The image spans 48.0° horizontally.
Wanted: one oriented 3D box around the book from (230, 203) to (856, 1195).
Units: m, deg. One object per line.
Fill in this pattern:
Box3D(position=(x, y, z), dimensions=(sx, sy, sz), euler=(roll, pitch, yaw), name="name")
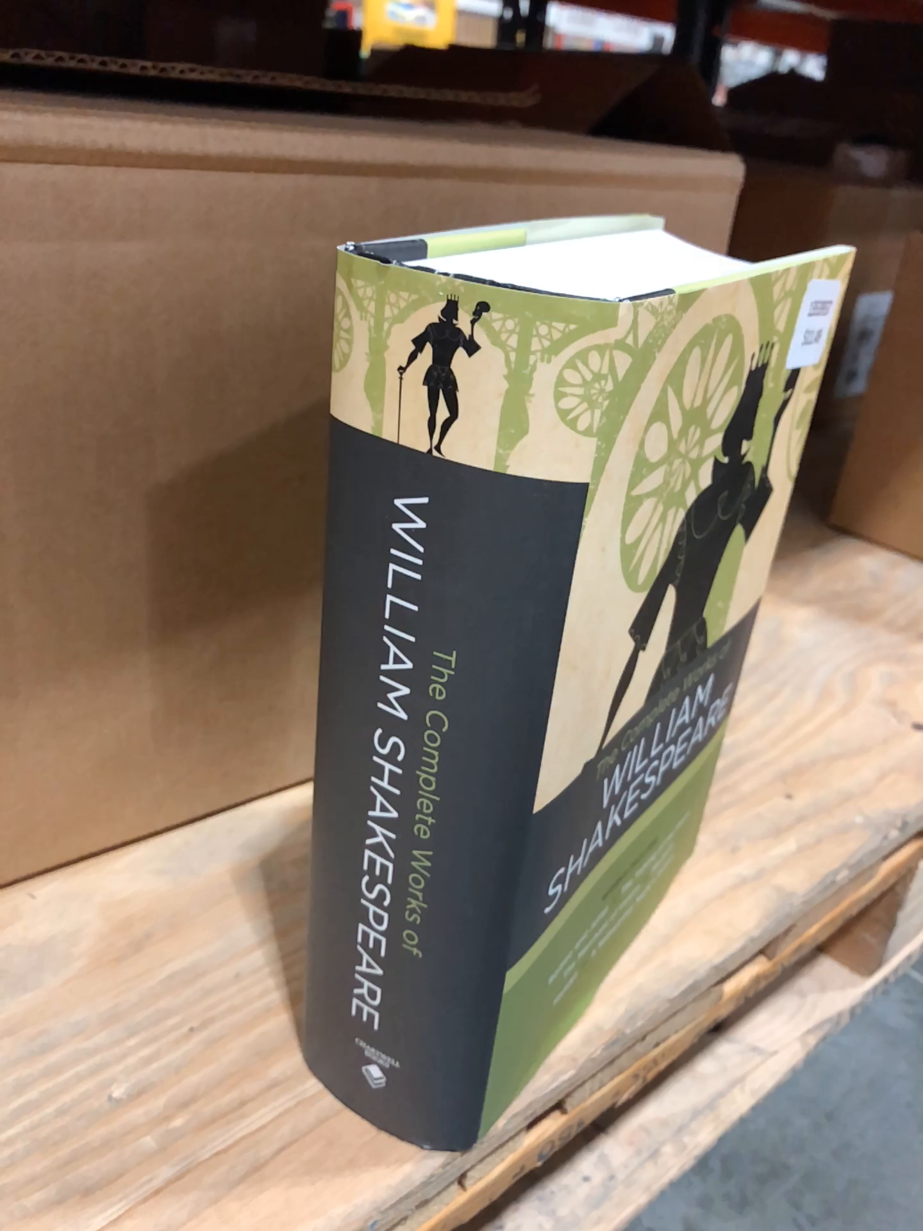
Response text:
Box3D(position=(0.025, 0.010, 0.318), dimensions=(0.080, 0.239, 0.182), euler=(22, 30, 26), name="book")
